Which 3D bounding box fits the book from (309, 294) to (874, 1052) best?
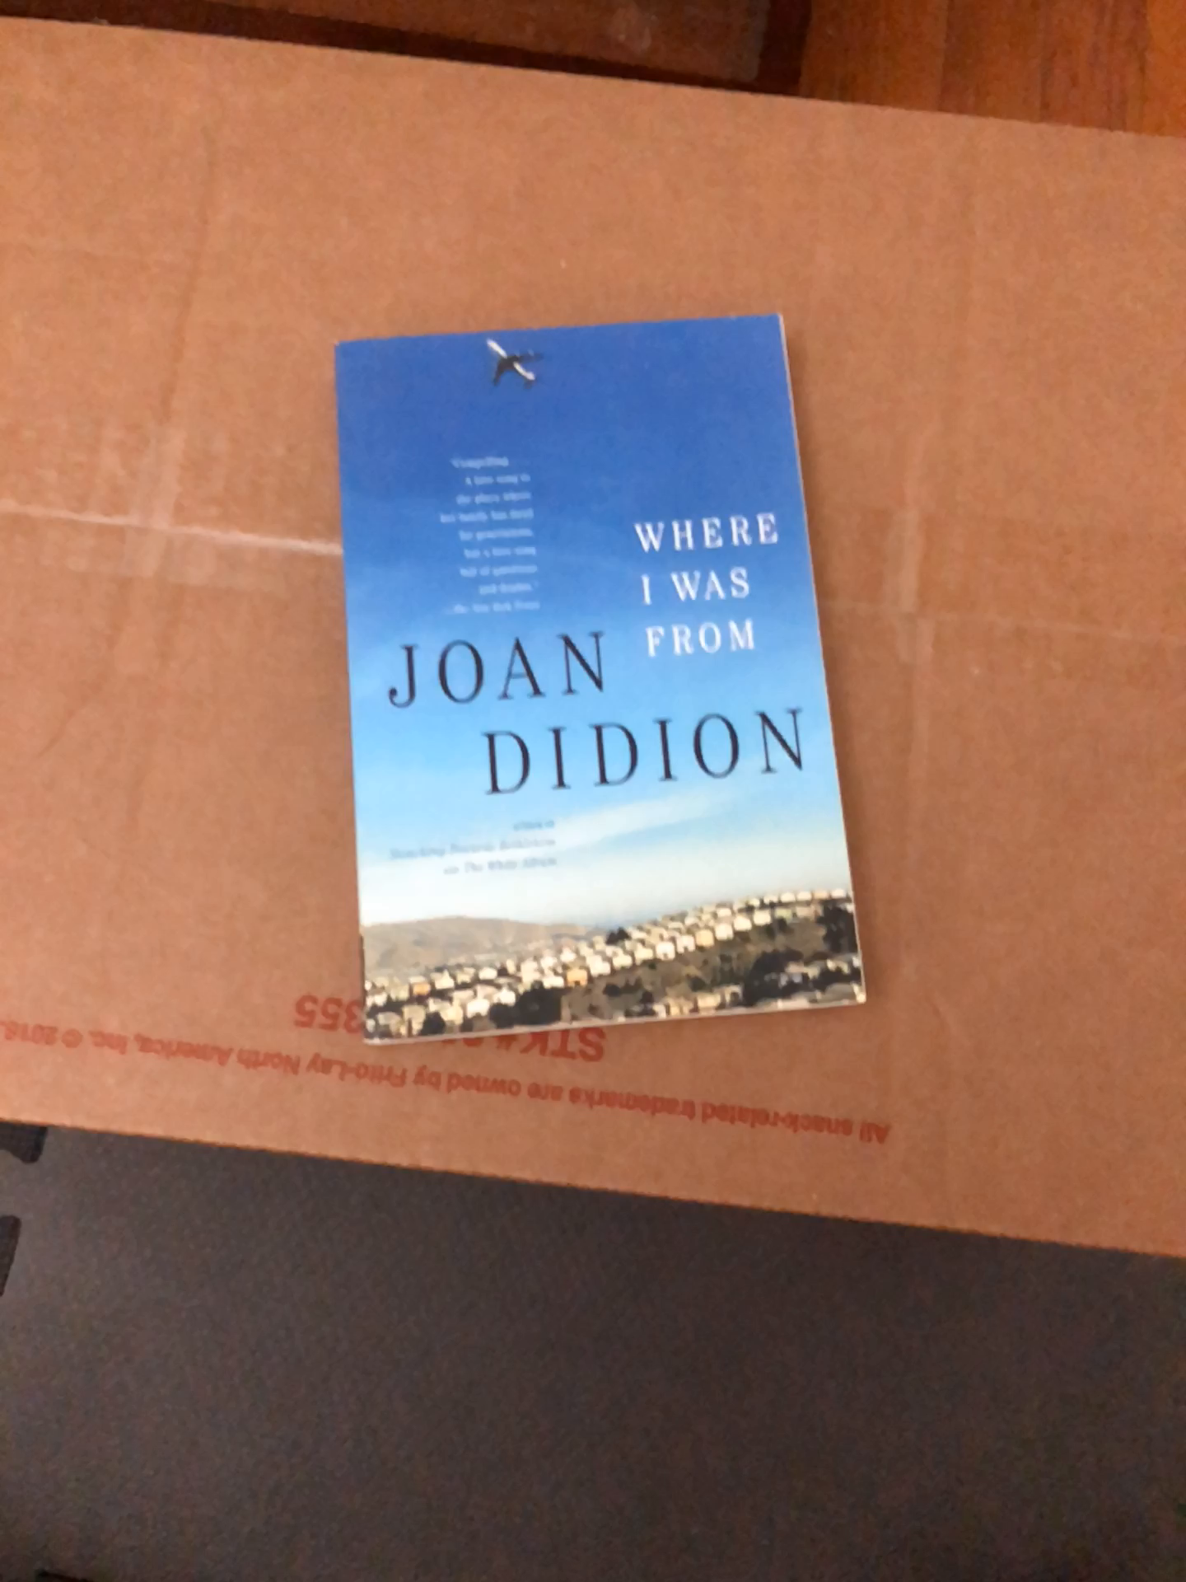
[{"bbox_3d":[-0.006,-0.039,0.374,0.140,0.020,0.210,-4,76,-2],"label":"book"}]
